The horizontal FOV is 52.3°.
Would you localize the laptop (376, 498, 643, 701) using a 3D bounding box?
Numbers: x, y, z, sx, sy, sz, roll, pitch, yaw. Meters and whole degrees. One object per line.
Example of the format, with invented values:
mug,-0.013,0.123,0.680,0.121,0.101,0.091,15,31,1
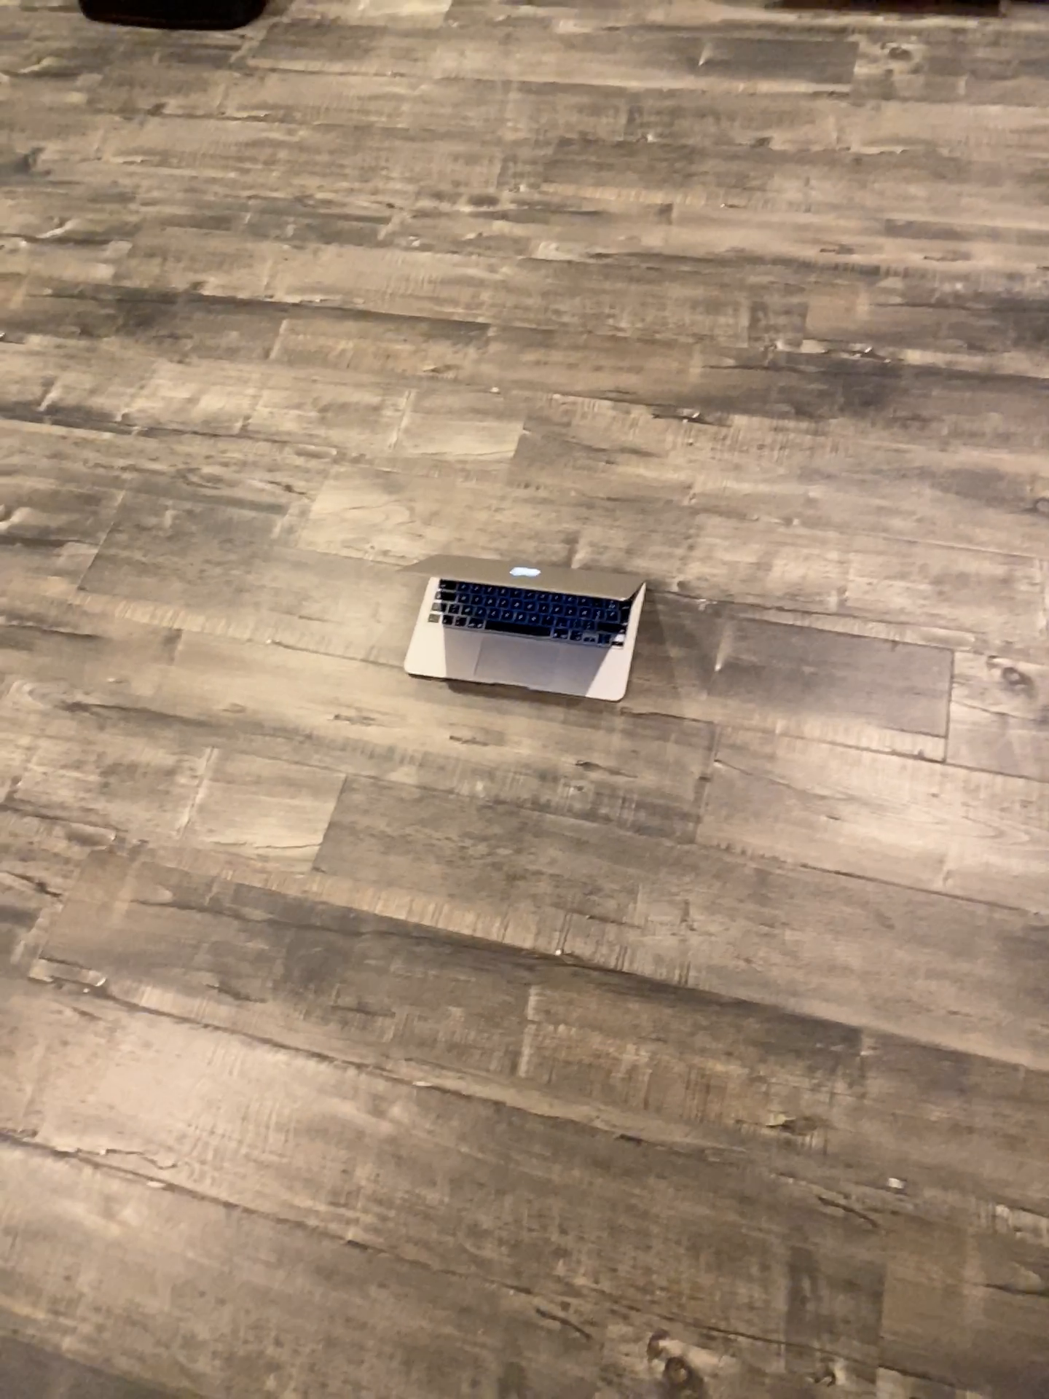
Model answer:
laptop,-0.009,-0.129,1.351,0.292,0.132,0.193,6,60,11
